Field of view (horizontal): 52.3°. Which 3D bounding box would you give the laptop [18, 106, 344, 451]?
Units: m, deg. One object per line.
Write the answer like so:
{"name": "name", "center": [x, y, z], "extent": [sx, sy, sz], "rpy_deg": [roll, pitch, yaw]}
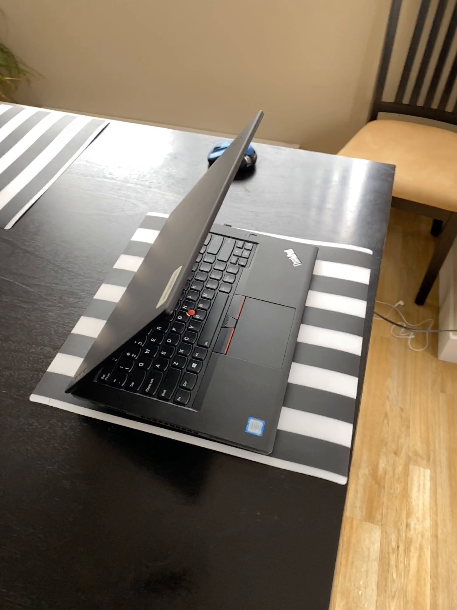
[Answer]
{"name": "laptop", "center": [-0.016, -0.051, 0.520], "extent": [0.220, 0.175, 0.322], "rpy_deg": [12, 49, 10]}
